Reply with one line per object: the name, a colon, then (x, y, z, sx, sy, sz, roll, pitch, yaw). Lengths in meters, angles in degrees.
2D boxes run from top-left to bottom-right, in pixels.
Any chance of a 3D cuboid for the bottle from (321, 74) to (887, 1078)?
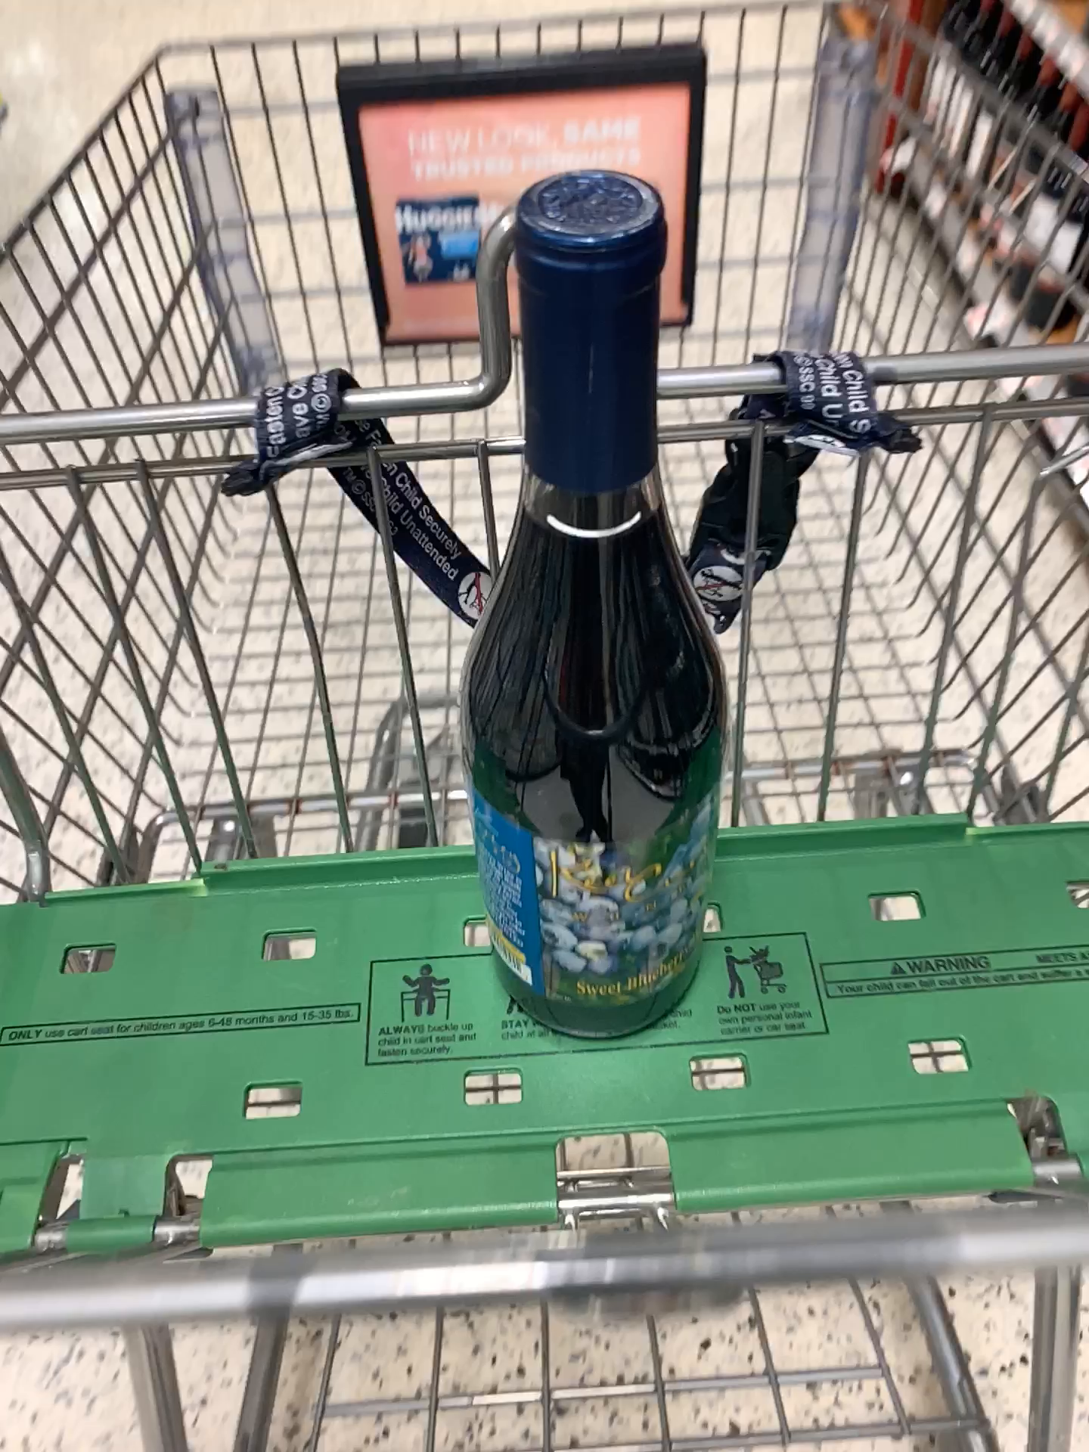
bottle: (0.014, -0.007, 0.316, 0.080, 0.287, 0.075, -2, 50, 2)
